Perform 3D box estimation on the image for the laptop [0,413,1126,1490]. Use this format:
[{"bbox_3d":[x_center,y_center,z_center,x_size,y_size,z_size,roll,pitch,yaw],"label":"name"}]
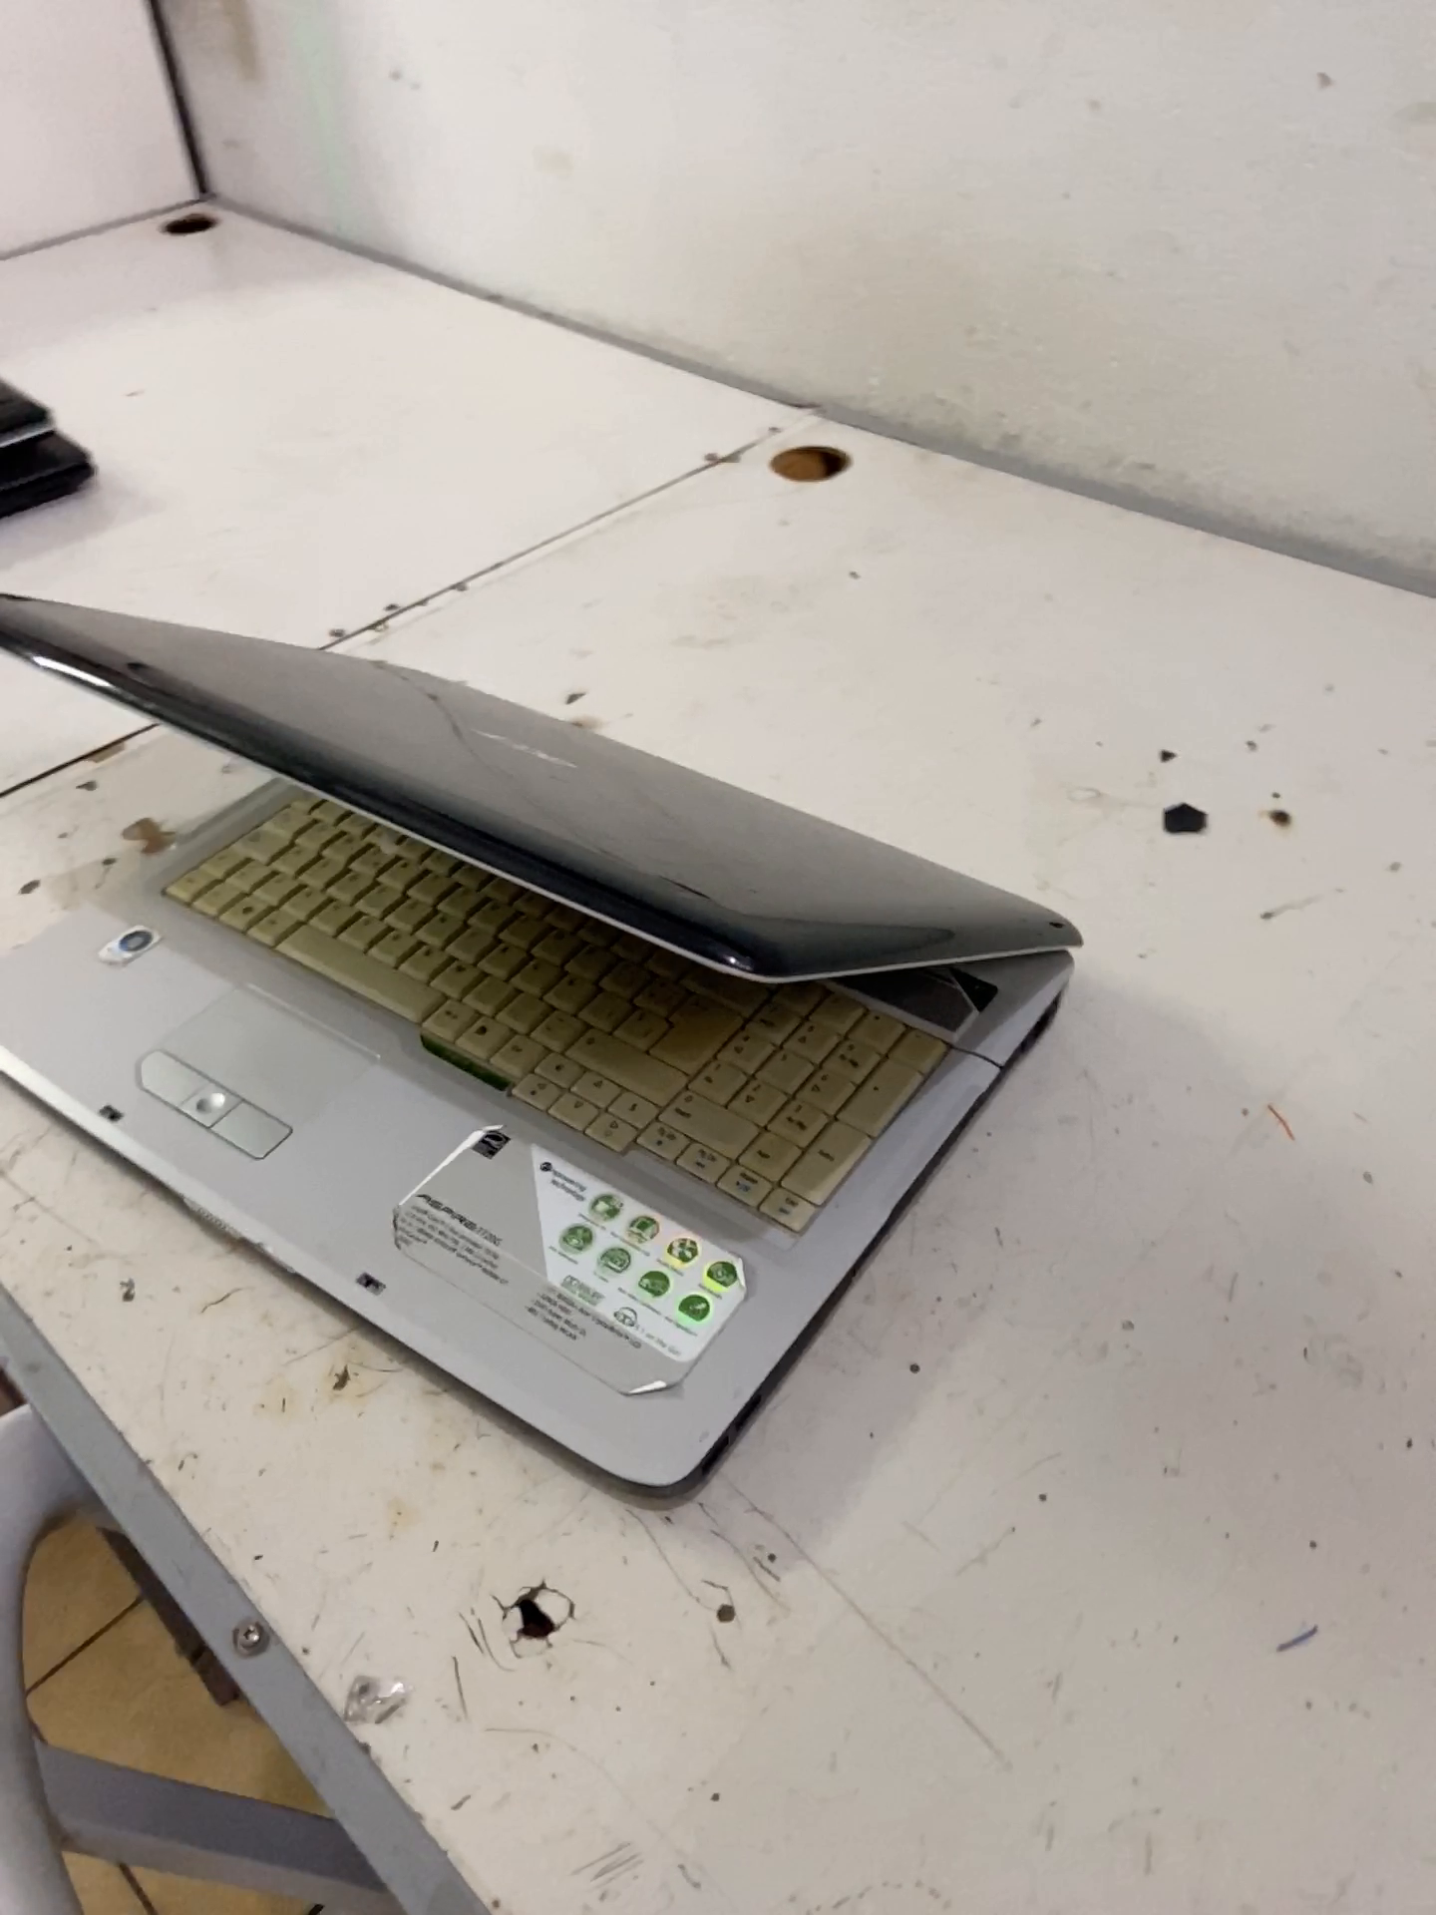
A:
[{"bbox_3d":[-0.097,-0.046,0.554,0.381,0.164,0.279,23,49,30],"label":"laptop"}]
